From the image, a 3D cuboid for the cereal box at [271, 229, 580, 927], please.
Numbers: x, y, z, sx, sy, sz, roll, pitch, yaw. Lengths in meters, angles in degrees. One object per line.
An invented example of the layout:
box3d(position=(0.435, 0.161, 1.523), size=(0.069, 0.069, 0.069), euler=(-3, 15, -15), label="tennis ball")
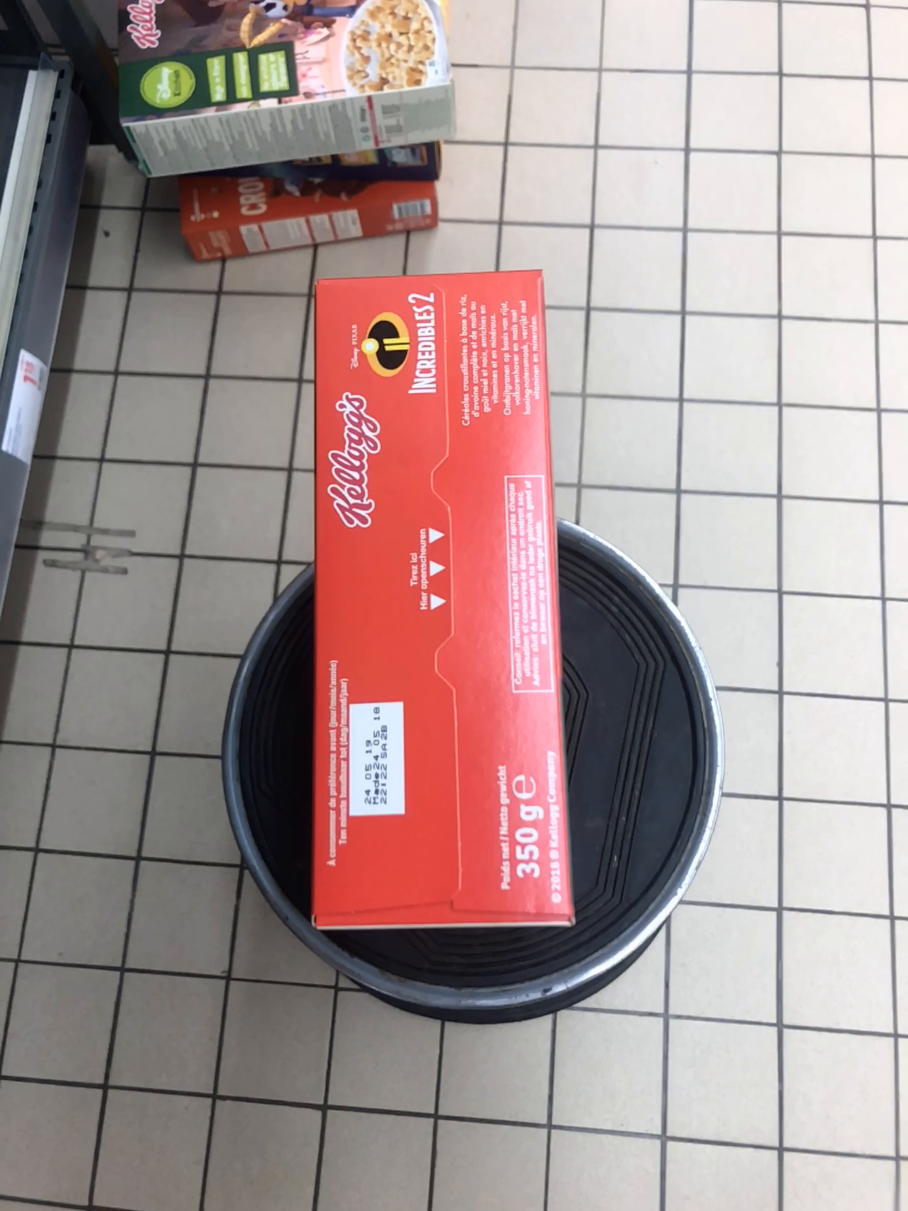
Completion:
box3d(position=(0.000, 0.020, 0.432), size=(0.080, 0.310, 0.200), euler=(-2, 77, 3), label="cereal box")
